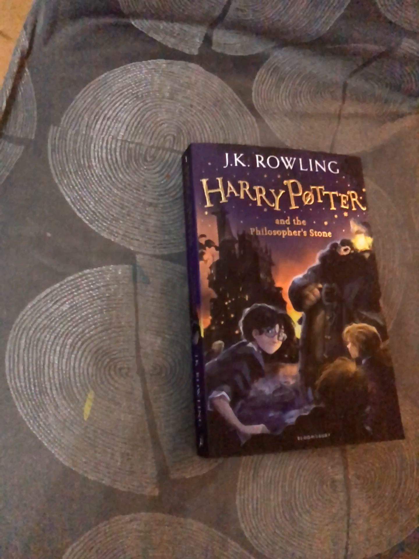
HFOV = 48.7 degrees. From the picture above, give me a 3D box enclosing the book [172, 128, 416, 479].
[{"bbox_3d":[0.054,0.010,0.317,0.140,0.040,0.210,0,76,-23],"label":"book"}]
